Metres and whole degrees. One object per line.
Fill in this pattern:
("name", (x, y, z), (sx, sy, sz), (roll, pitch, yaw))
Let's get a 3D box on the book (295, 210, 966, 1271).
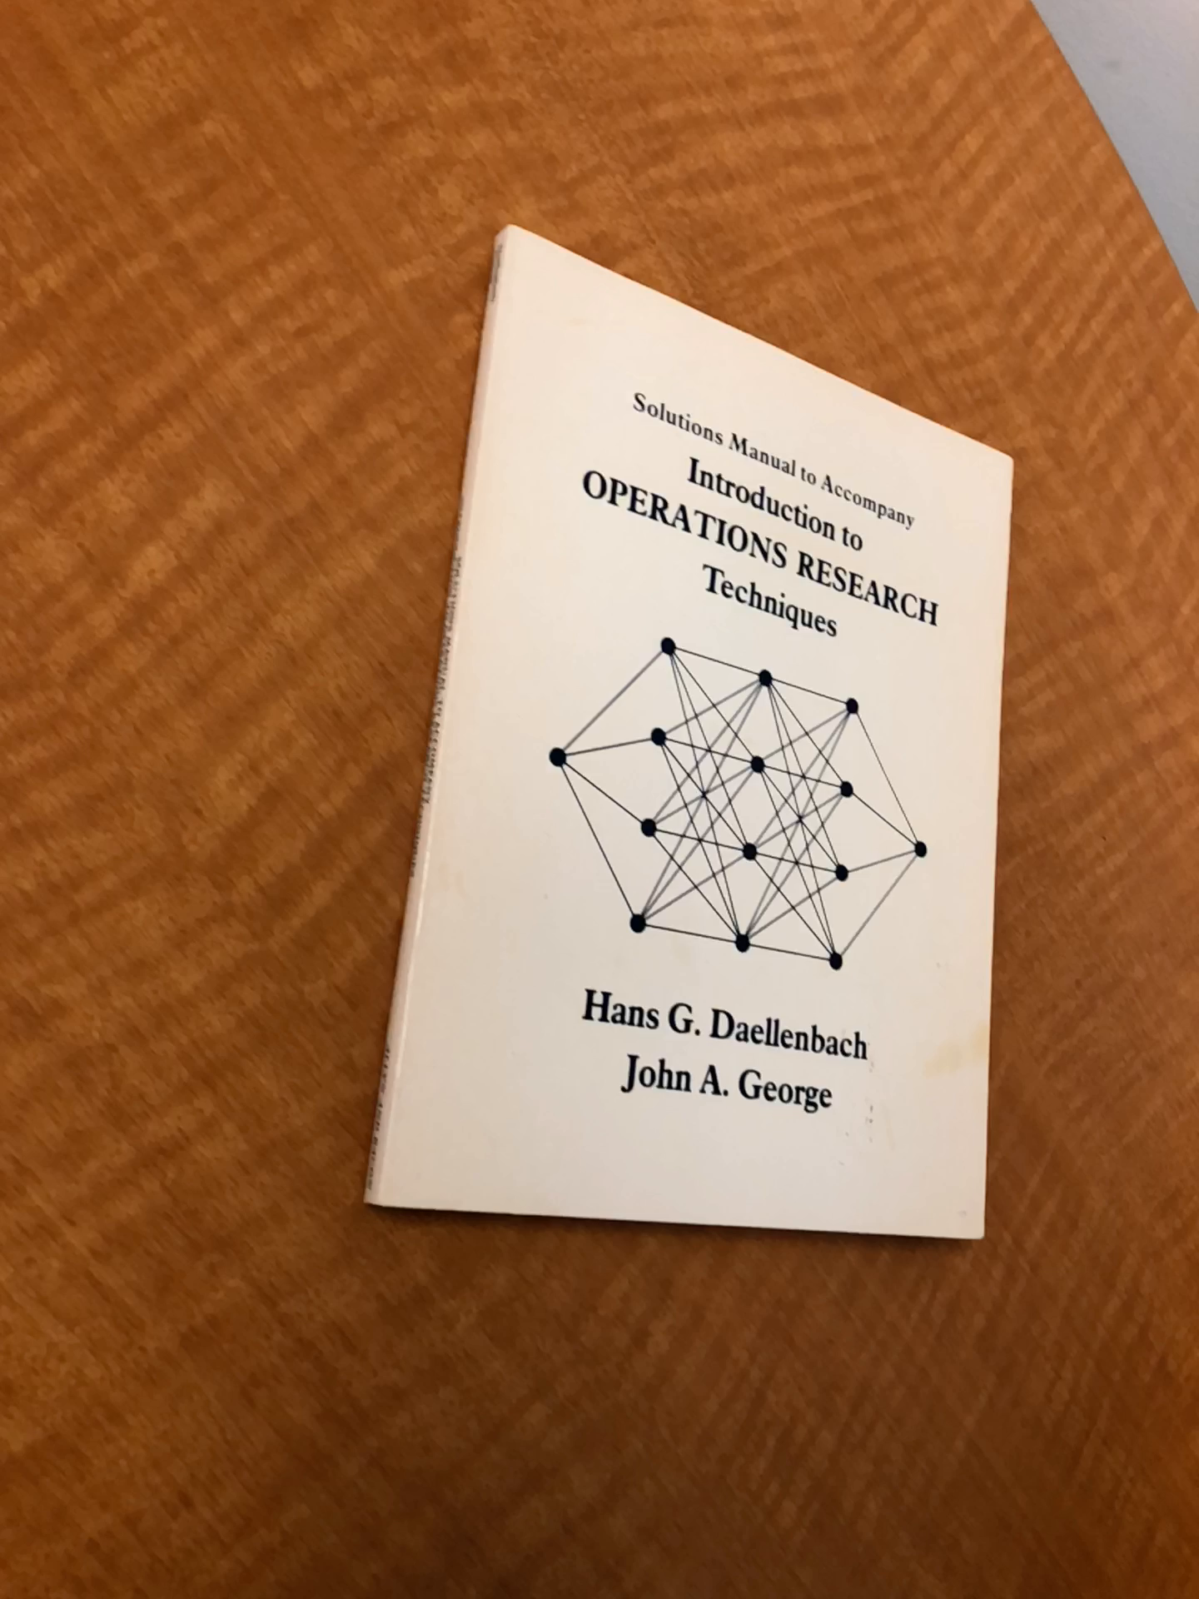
("book", (0.025, -0.007, 0.357), (0.181, 0.020, 0.250), (13, 75, -31))
